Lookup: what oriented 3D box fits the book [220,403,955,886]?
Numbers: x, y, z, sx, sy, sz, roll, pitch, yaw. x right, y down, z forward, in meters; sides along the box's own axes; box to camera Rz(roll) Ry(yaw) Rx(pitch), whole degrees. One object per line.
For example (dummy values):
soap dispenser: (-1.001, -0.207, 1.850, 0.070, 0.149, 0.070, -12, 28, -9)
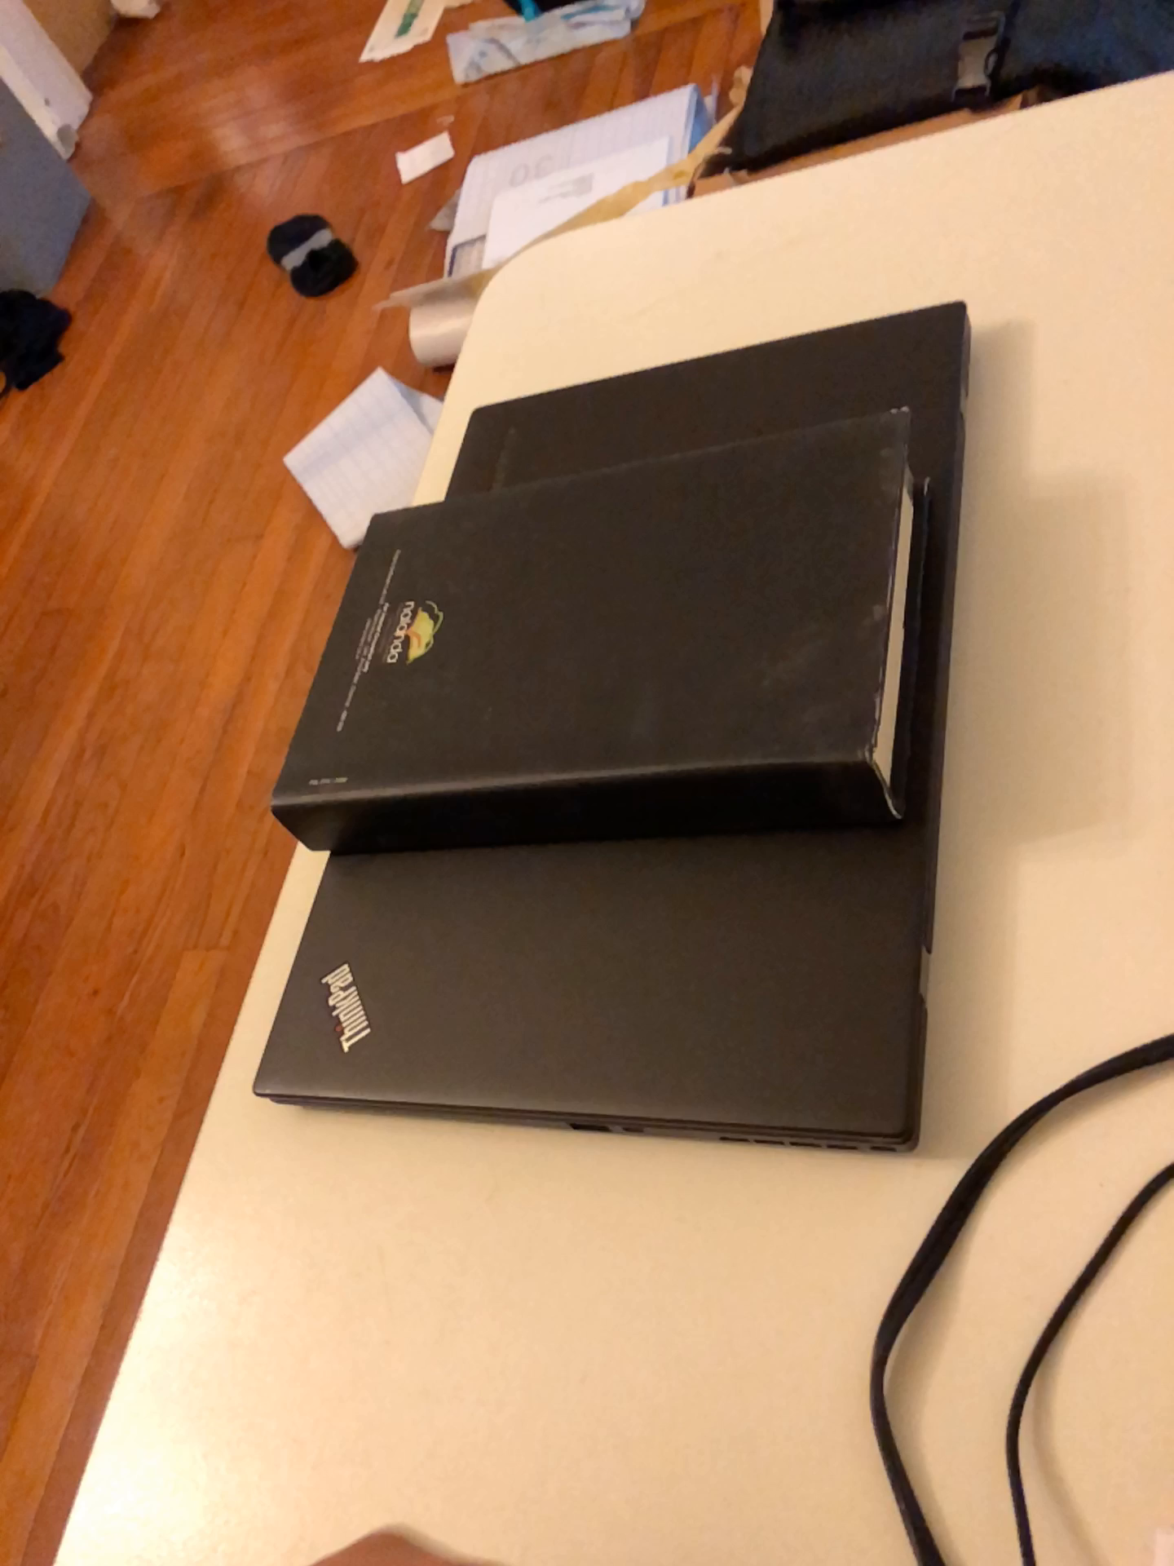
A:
book: (0.001, -0.042, 0.442, 0.230, 0.040, 0.151, -3, 57, 26)
